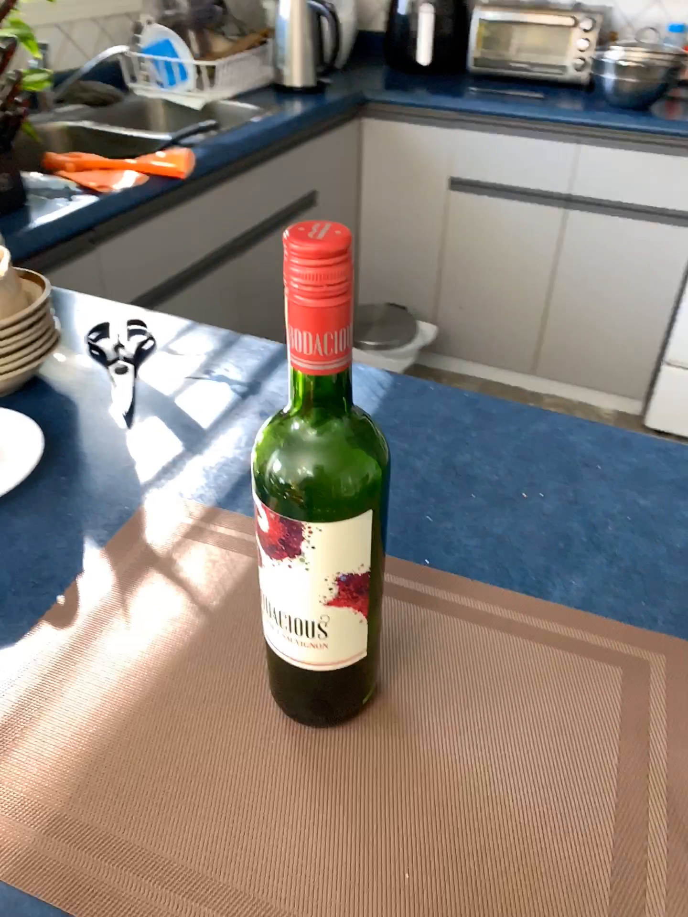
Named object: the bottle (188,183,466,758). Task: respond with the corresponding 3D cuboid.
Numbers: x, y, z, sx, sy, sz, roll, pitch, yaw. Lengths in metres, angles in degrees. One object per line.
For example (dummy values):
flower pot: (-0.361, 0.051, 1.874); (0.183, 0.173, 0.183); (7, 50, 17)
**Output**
bottle: (-0.008, 0.024, 0.374); (0.080, 0.297, 0.080); (1, 37, 0)
